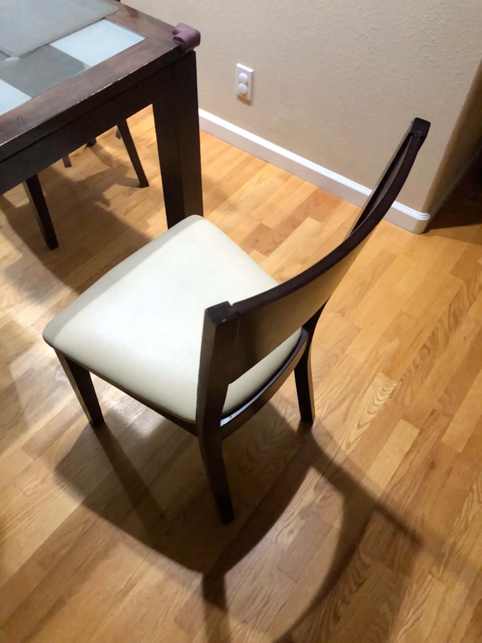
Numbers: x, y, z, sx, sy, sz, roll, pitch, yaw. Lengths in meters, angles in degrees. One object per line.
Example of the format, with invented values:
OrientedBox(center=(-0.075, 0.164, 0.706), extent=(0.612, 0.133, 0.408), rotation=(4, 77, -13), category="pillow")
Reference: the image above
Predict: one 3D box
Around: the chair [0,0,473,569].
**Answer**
OrientedBox(center=(-0.077, 0.003, 1.145), extent=(0.641, 1.006, 0.502), rotation=(30, 58, 20), category="chair")
